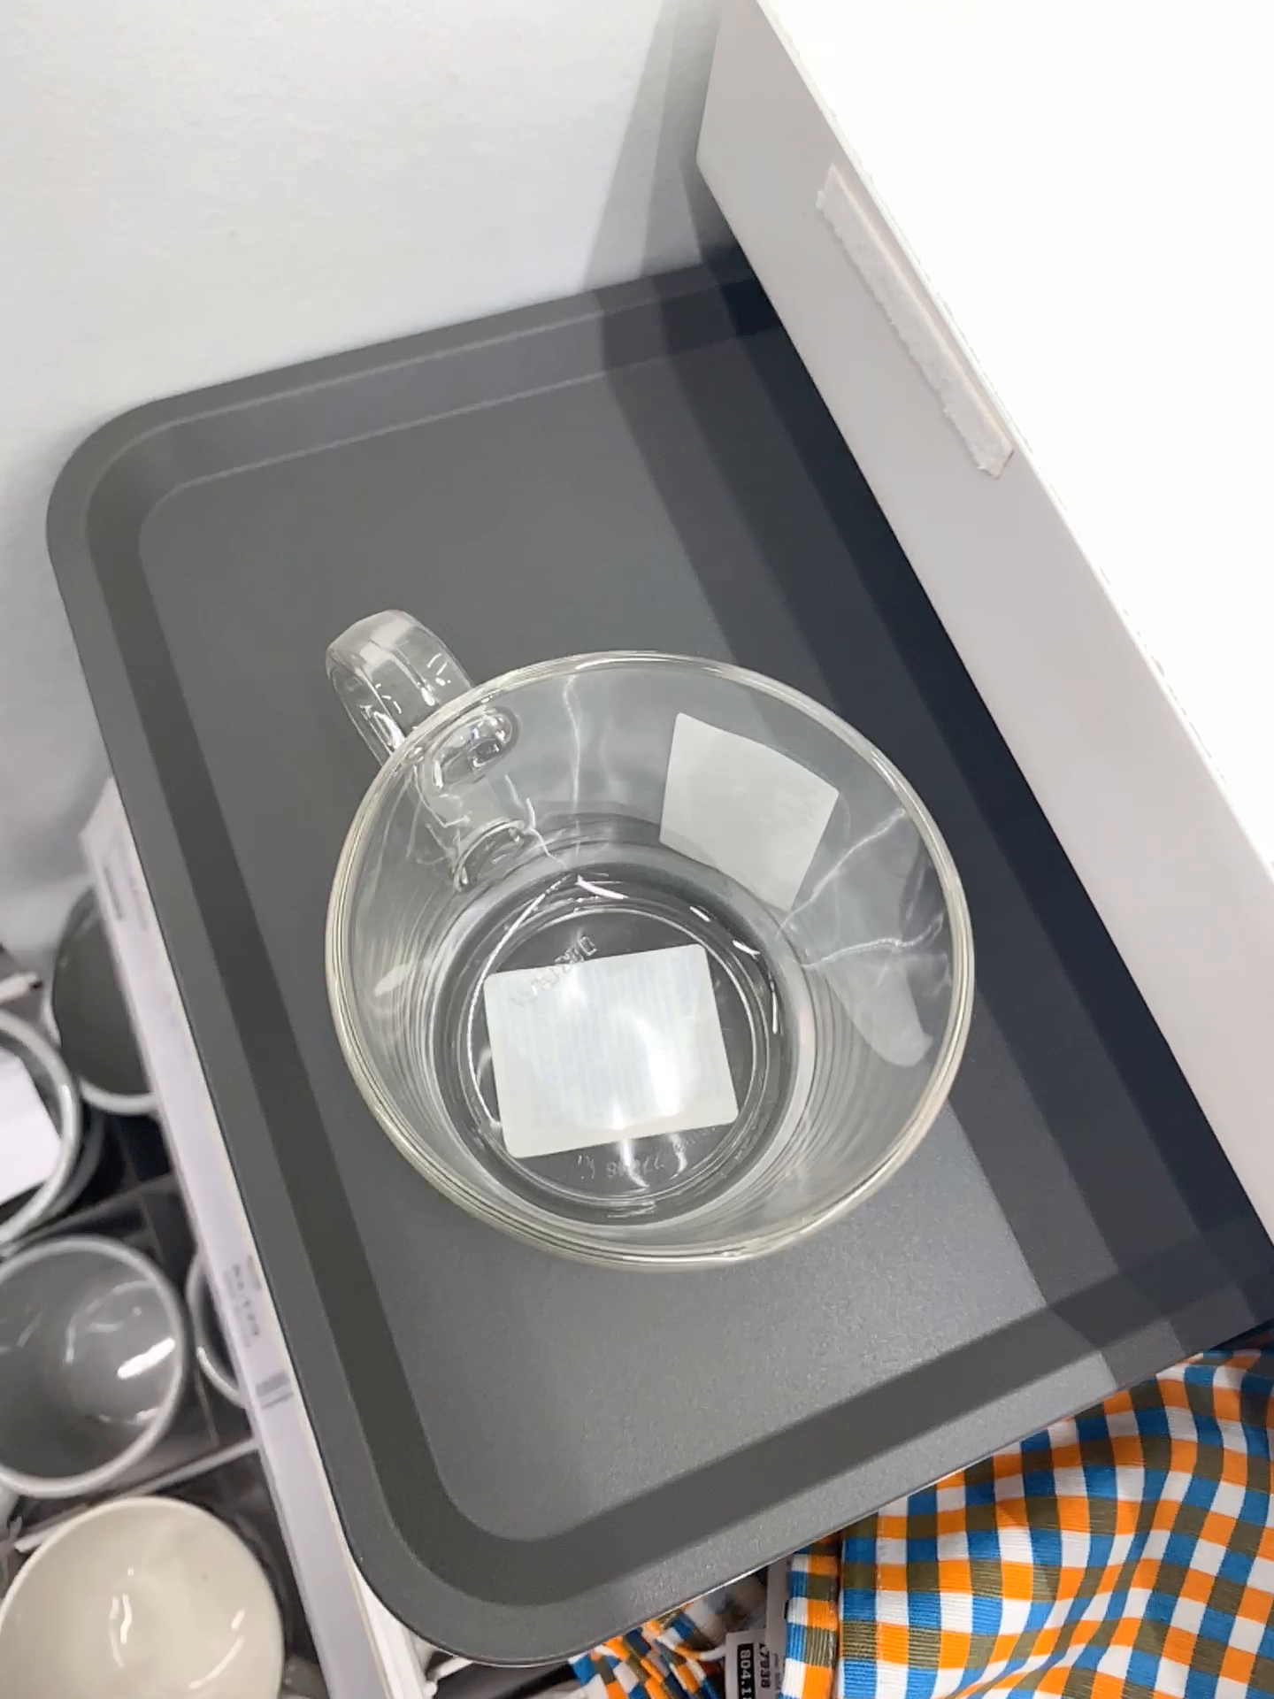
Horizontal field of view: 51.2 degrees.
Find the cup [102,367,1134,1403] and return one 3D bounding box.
[{"bbox_3d":[-0.008,0.008,0.233,0.100,0.080,0.130,-28,75,-16],"label":"cup"}]
